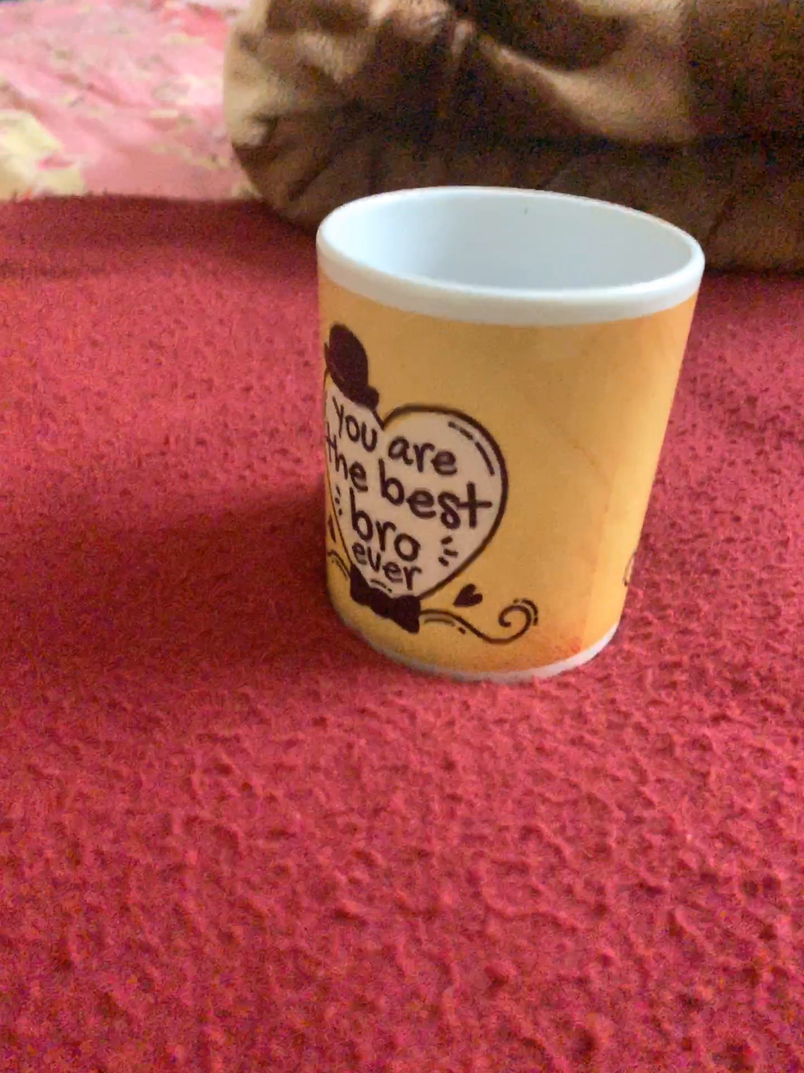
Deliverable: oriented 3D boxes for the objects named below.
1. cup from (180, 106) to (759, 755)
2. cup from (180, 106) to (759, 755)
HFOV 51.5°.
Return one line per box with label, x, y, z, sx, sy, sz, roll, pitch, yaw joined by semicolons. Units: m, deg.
cup;0.006;-0.035;0.210;0.080;0.109;0.111;-16;40;-19
cup;0.006;-0.035;0.210;0.080;0.109;0.111;-16;40;-19
